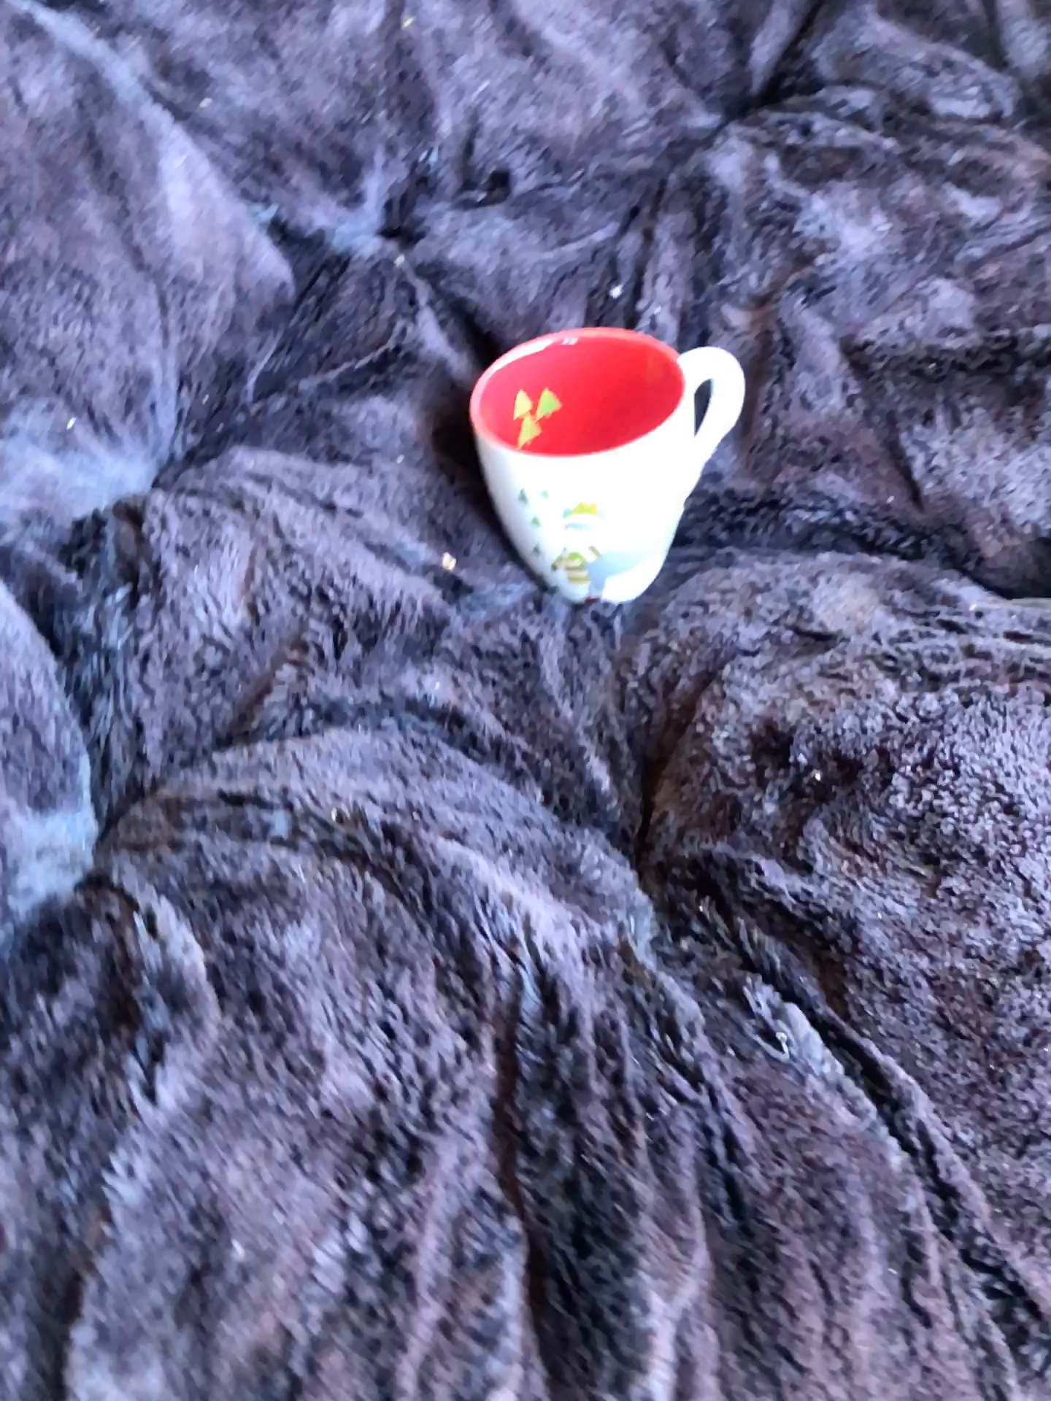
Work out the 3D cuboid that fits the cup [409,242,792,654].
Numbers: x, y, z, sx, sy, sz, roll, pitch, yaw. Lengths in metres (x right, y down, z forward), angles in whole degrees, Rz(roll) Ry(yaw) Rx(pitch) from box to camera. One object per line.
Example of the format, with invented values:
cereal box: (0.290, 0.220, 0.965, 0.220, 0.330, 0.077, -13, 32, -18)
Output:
cup: (0.039, -0.123, 0.565, 0.140, 0.110, 0.100, -37, 57, -19)
